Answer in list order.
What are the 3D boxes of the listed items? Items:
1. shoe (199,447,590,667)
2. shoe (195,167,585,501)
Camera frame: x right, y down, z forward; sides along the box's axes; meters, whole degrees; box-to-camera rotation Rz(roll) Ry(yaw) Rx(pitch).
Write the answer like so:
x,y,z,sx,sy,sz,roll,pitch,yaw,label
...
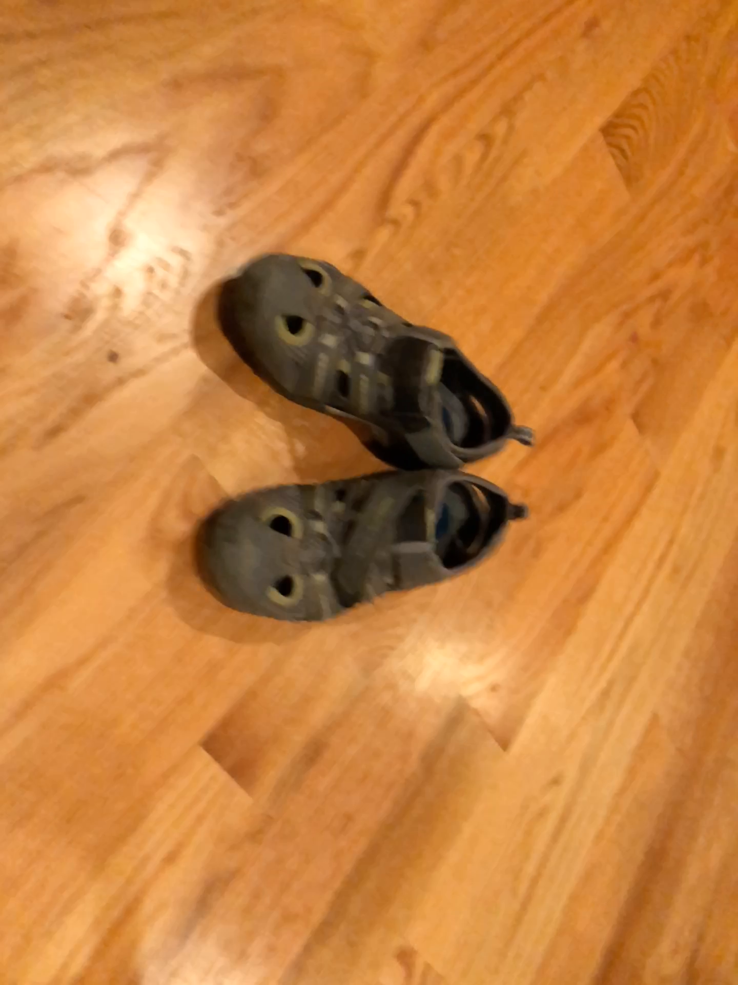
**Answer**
x,y,z,sx,sy,sz,roll,pitch,yaw,label
0.027,0.033,0.557,0.246,0.113,0.100,-8,92,-40,shoe
0.025,-0.090,0.568,0.246,0.113,0.100,29,69,-35,shoe
